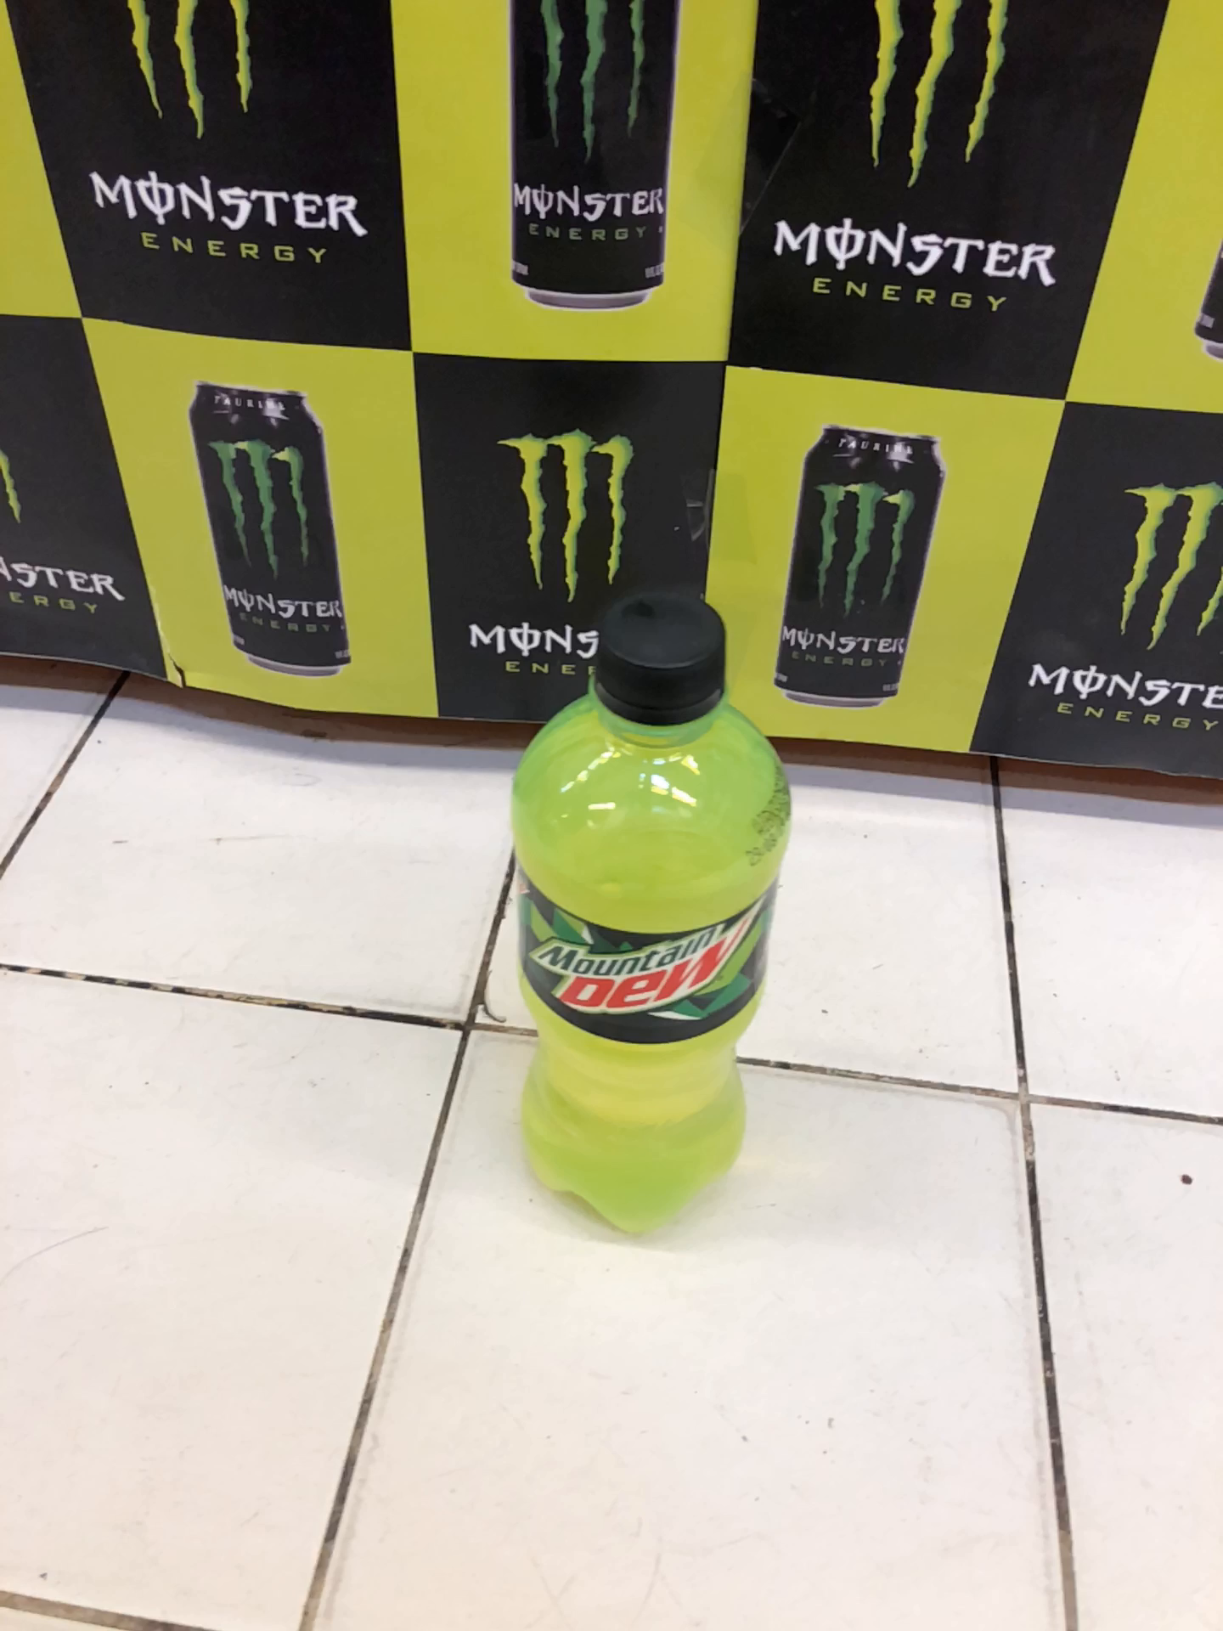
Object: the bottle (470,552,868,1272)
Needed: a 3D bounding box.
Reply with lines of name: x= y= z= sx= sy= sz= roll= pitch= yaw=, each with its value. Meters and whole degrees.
bottle: x=0.014 y=0.037 z=0.364 sx=0.080 sy=0.199 sz=0.070 roll=6 pitch=44 yaw=5
